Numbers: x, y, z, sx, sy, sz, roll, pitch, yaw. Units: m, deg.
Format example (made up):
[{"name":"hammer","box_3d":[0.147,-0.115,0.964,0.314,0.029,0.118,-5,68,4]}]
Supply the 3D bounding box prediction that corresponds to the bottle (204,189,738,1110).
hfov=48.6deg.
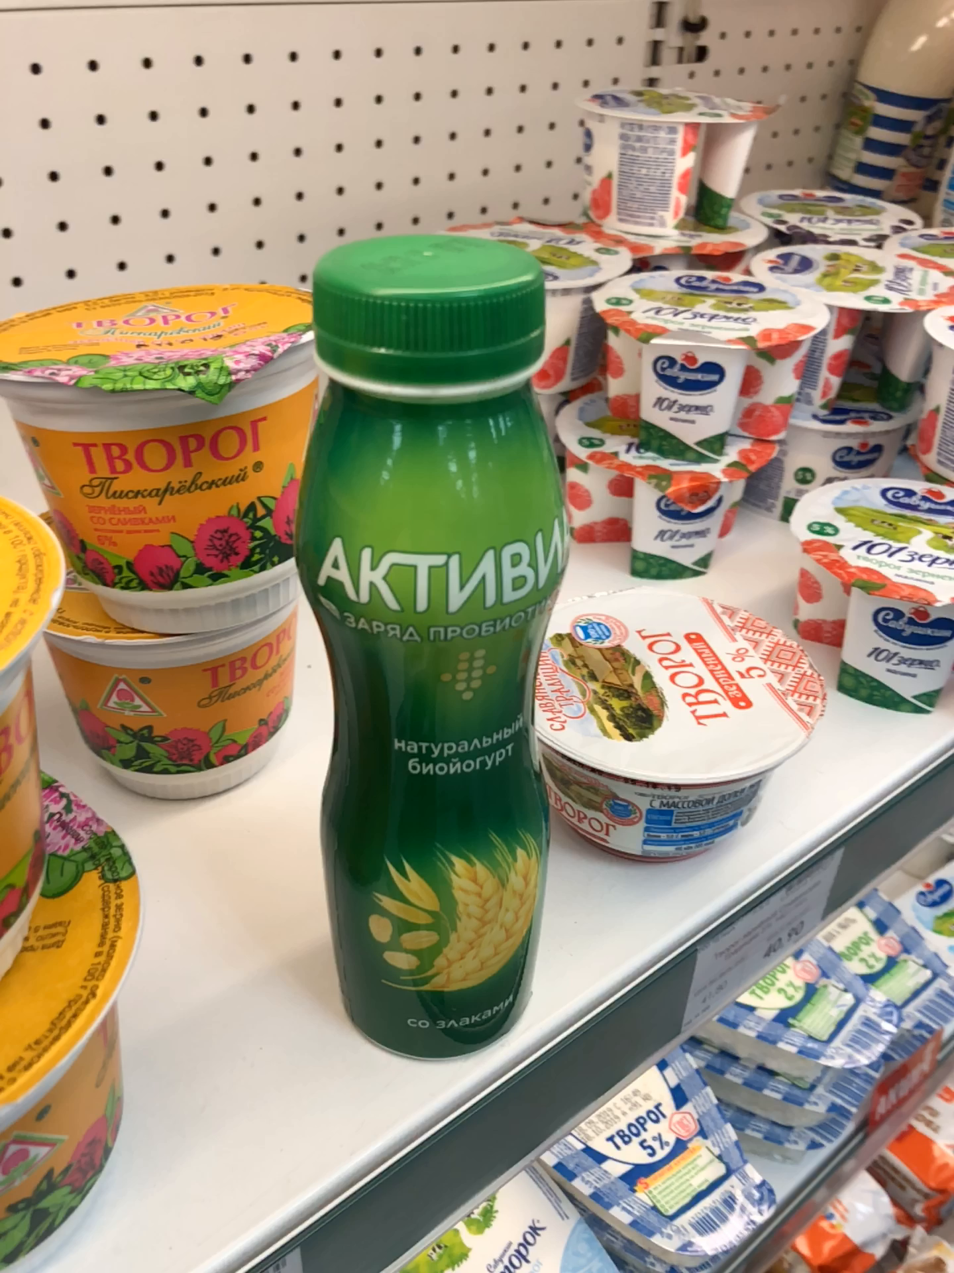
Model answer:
[{"name":"bottle","box_3d":[-0.007,0.010,0.226,0.070,0.183,0.060,-12,37,-20]}]
